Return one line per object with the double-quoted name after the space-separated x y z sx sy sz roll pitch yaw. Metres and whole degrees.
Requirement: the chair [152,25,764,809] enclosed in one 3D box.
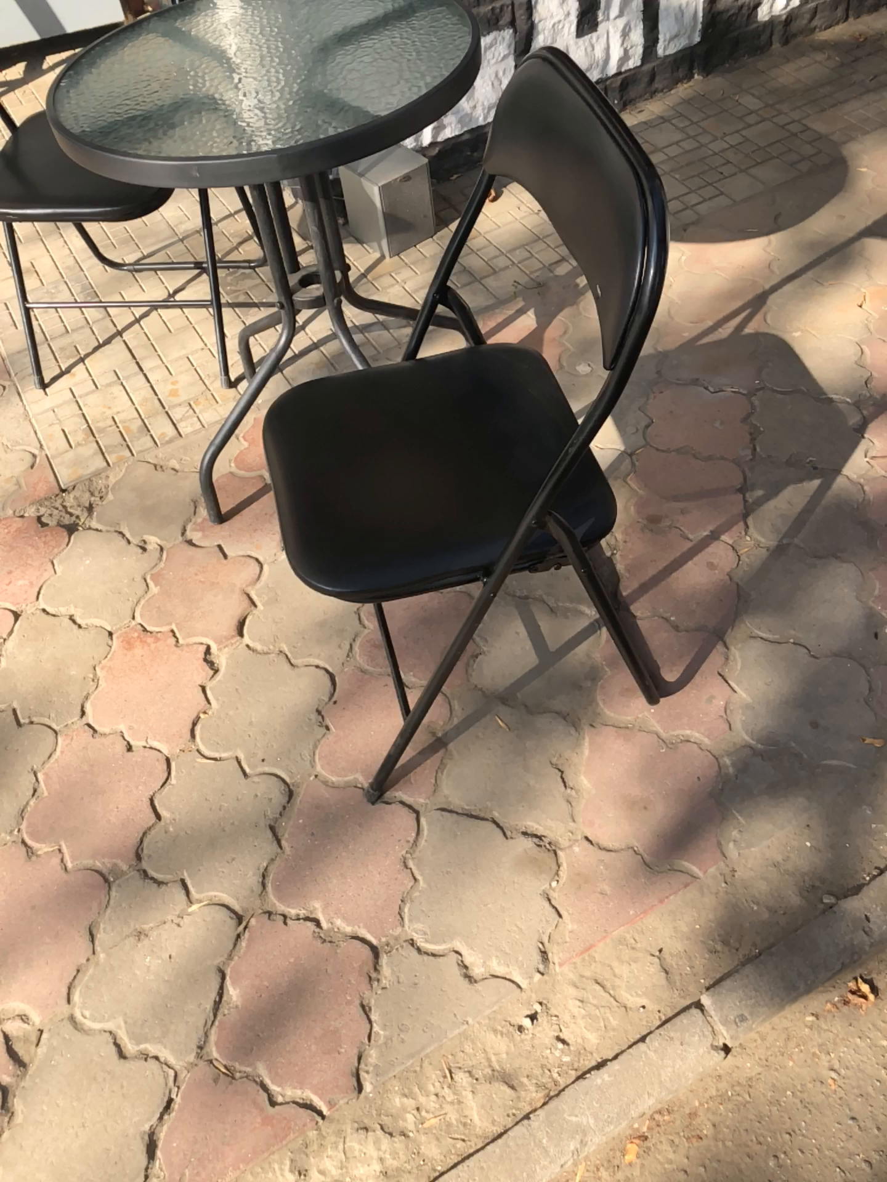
0.006 -0.184 1.195 0.470 0.697 0.502 -16 49 -6 "chair"
